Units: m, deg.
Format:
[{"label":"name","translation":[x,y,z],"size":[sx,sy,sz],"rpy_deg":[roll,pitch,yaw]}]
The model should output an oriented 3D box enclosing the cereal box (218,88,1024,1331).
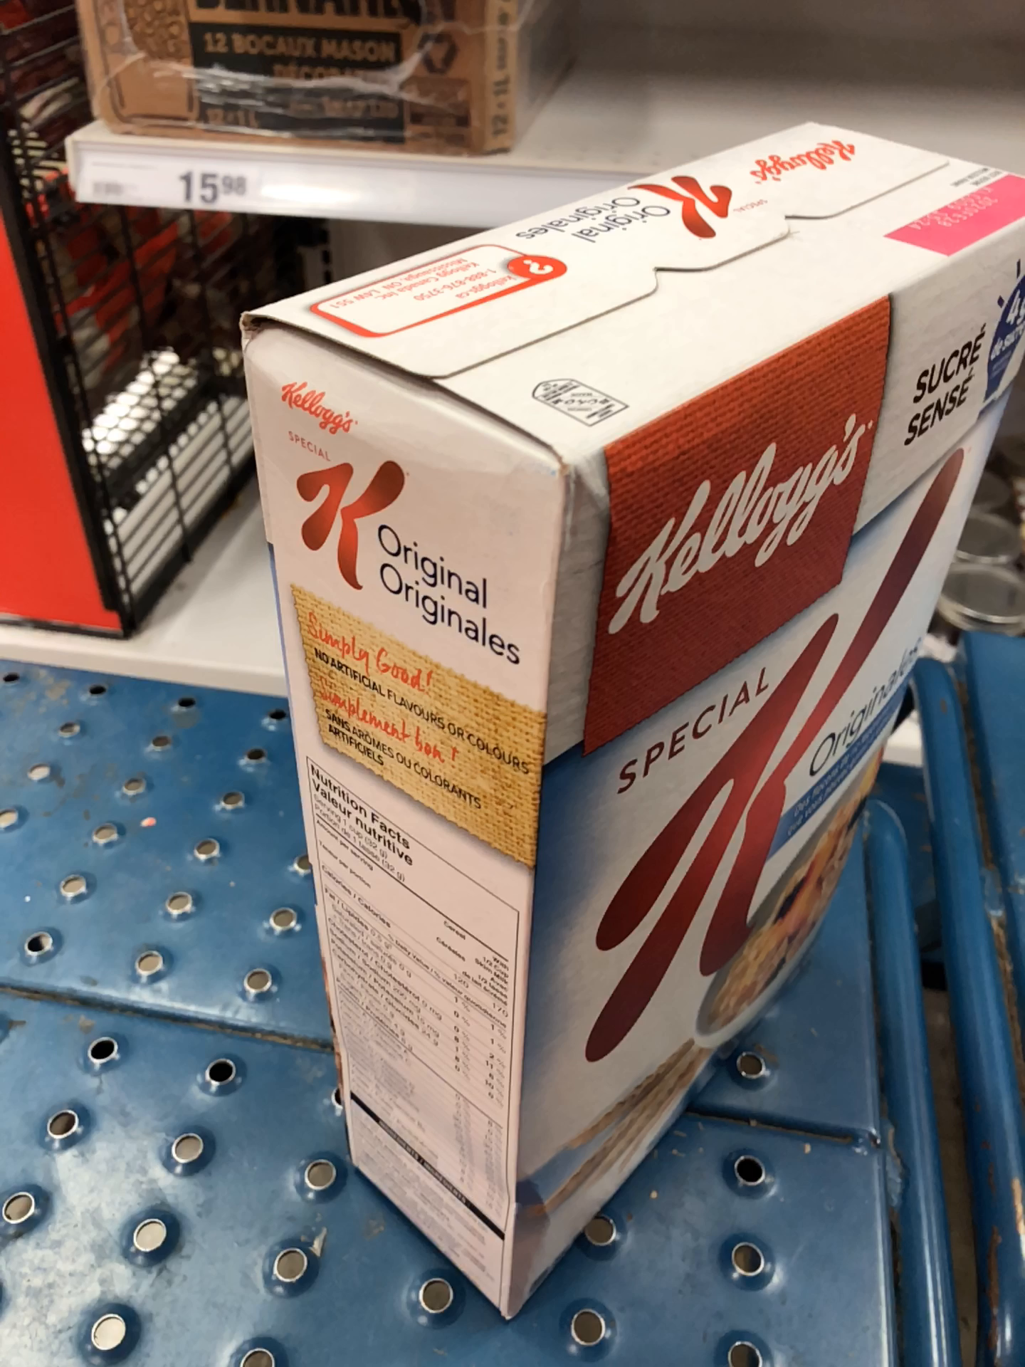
[{"label":"cereal box","translation":[0.044,0.013,0.334],"size":[0.080,0.299,0.210],"rpy_deg":[29,46,30]}]
